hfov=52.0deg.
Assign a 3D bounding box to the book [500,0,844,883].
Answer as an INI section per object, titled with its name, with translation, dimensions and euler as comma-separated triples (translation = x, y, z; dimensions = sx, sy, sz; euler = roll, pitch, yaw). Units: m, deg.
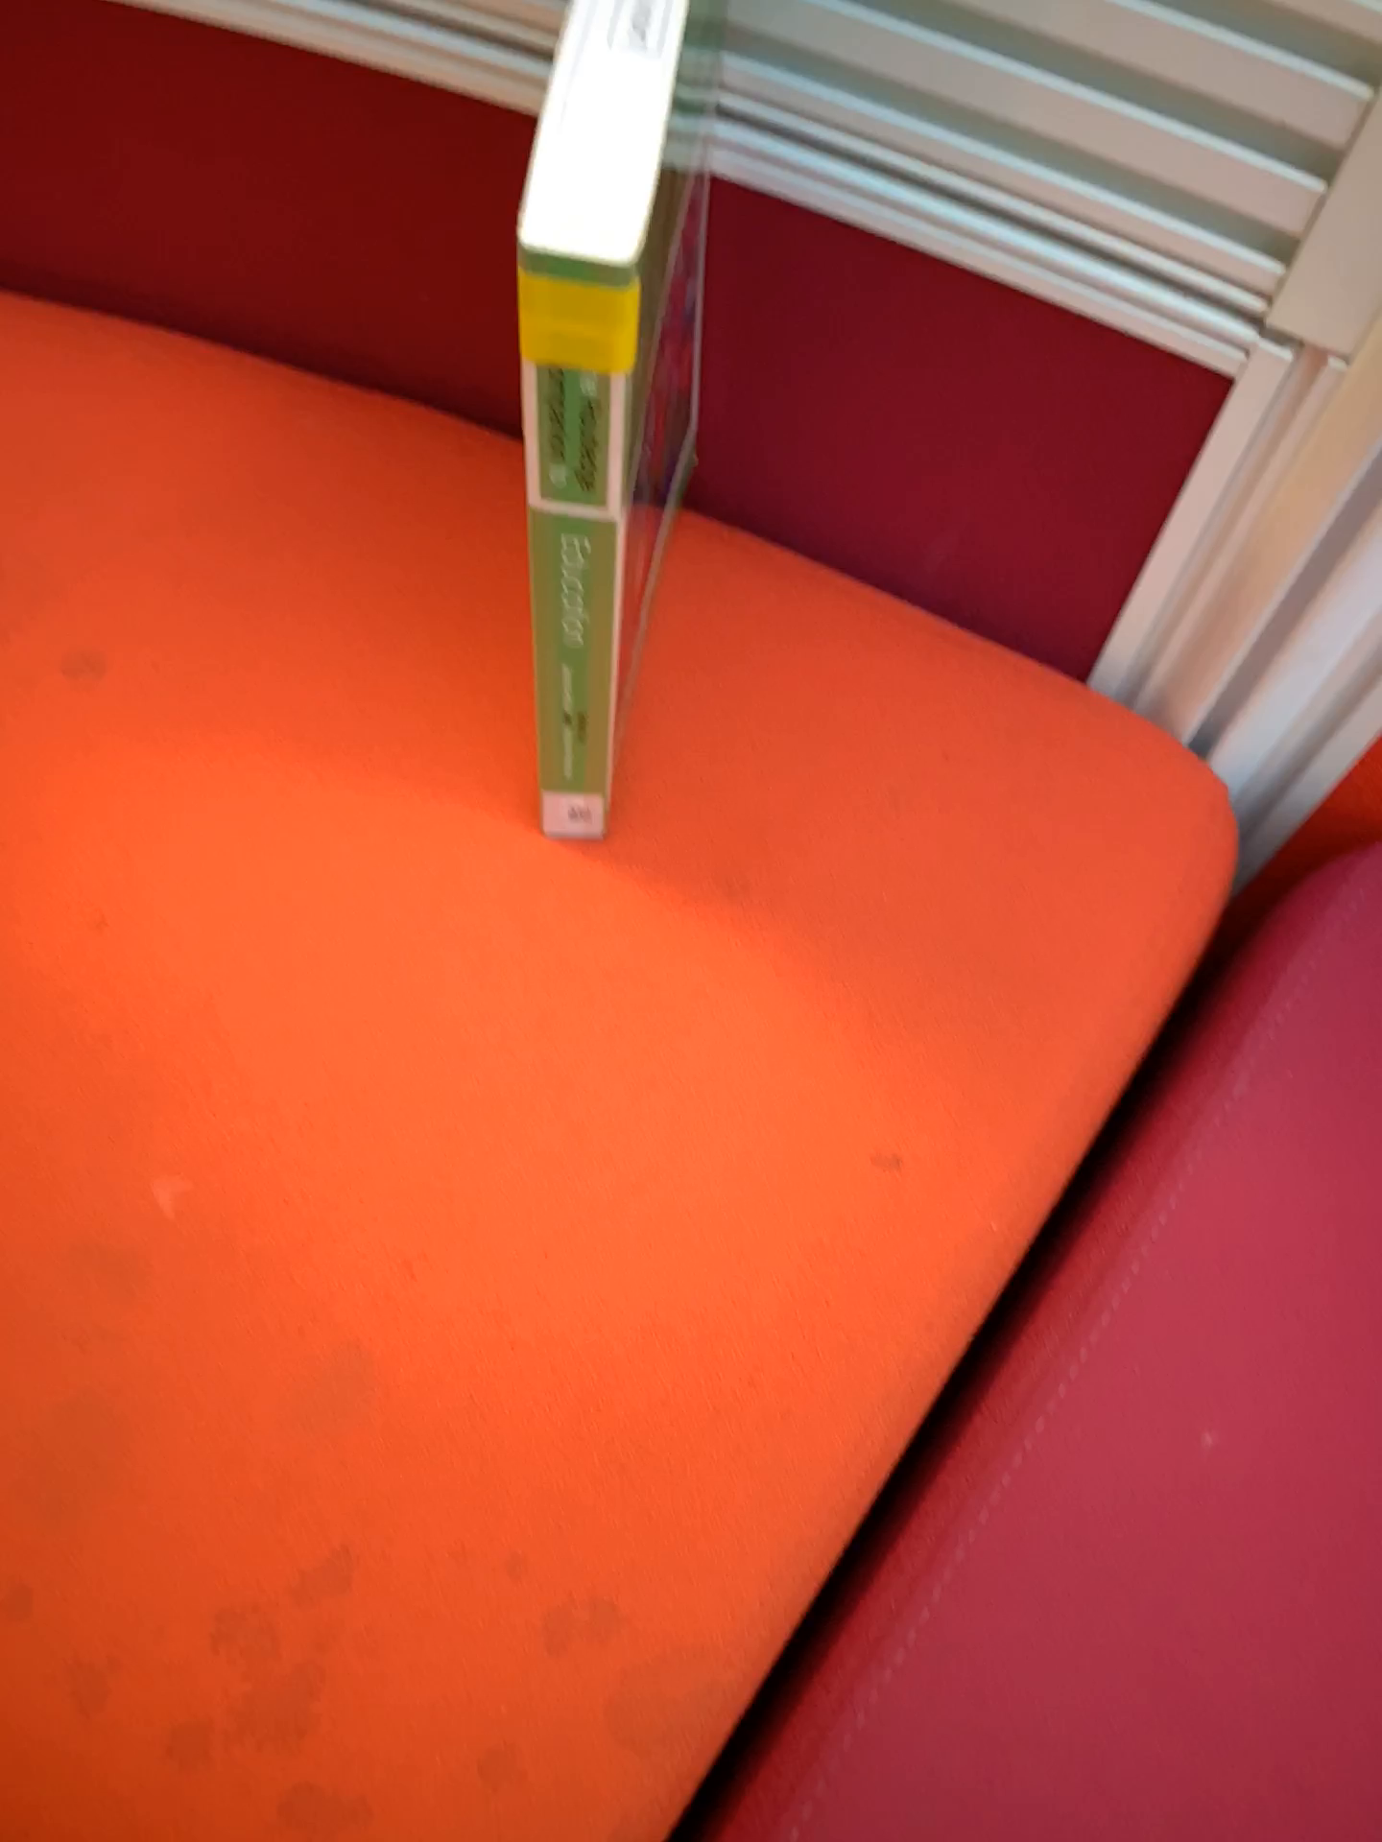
[book]
translation = -0.010, -0.162, 0.437
dimensions = 0.040, 0.269, 0.201
euler = 11, 65, 0
